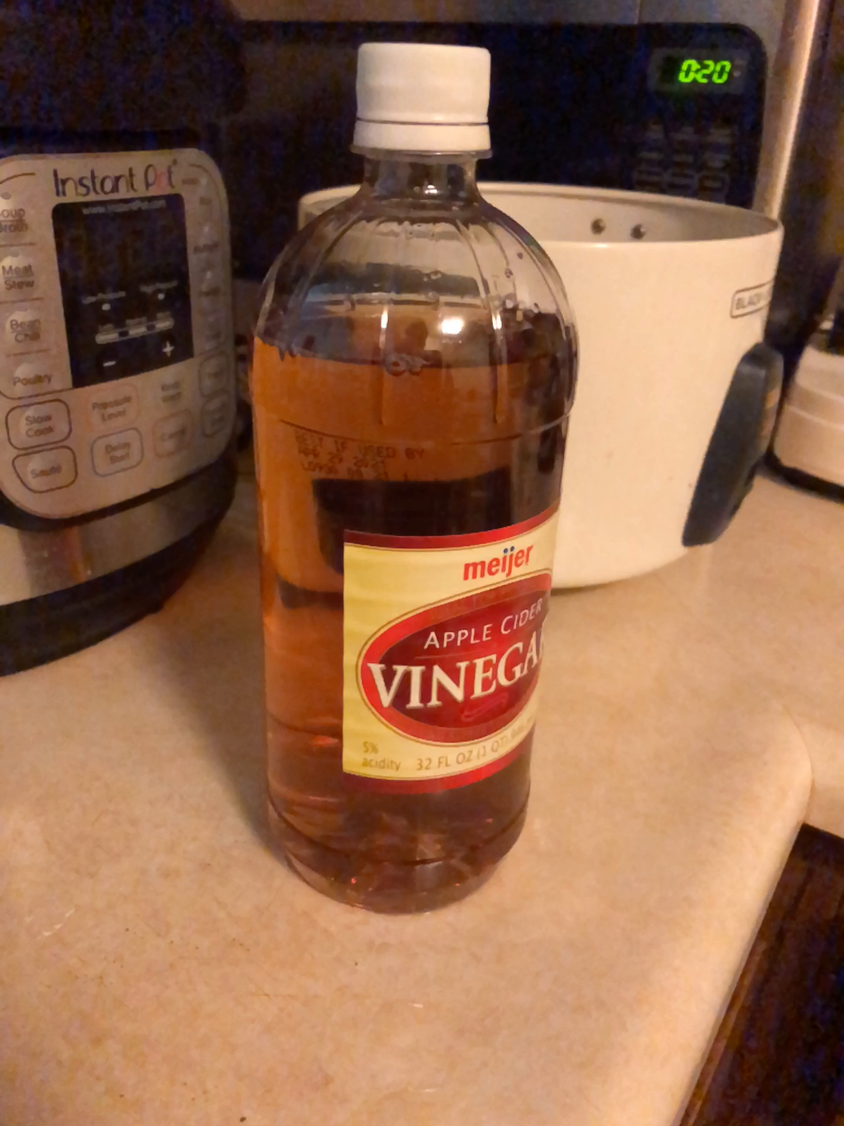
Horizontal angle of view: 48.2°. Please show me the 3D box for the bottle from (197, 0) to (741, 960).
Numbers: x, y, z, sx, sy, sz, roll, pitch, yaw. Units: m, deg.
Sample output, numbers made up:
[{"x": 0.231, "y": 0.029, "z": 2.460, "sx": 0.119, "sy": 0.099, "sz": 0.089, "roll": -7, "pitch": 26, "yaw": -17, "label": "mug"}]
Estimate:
[{"x": 0.004, "y": -0.020, "z": 0.258, "sx": 0.090, "sy": 0.229, "sz": 0.080, "roll": -14, "pitch": 31, "yaw": -29, "label": "bottle"}]
